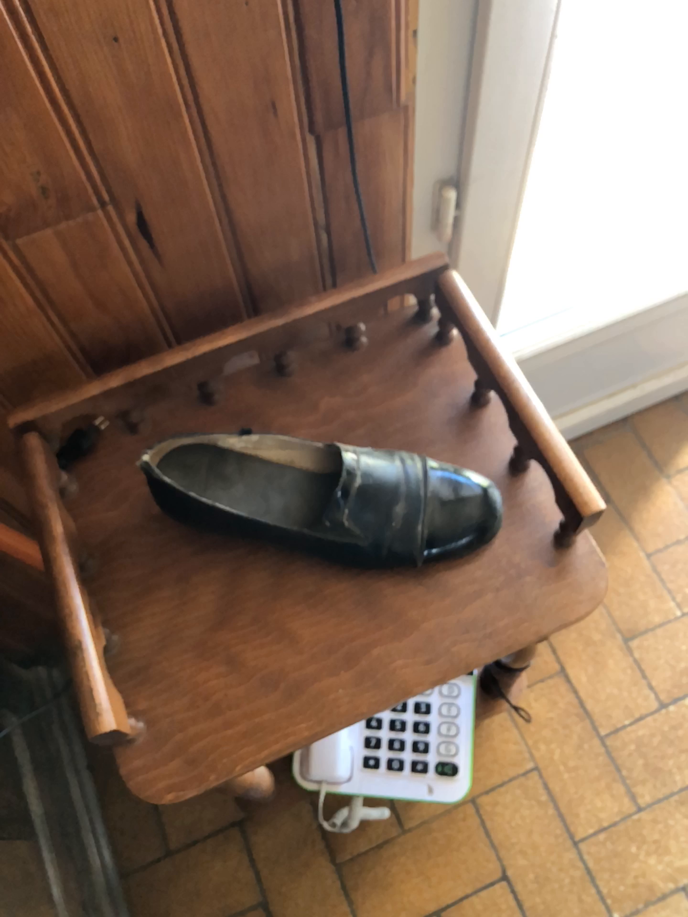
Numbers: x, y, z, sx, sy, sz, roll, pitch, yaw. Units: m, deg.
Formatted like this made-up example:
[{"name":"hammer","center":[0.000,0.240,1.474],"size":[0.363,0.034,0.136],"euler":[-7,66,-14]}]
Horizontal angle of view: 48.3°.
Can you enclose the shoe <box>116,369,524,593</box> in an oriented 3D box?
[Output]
[{"name":"shoe","center":[-0.012,0.017,0.554],"size":[0.260,0.090,0.100],"euler":[7,65,7]}]
